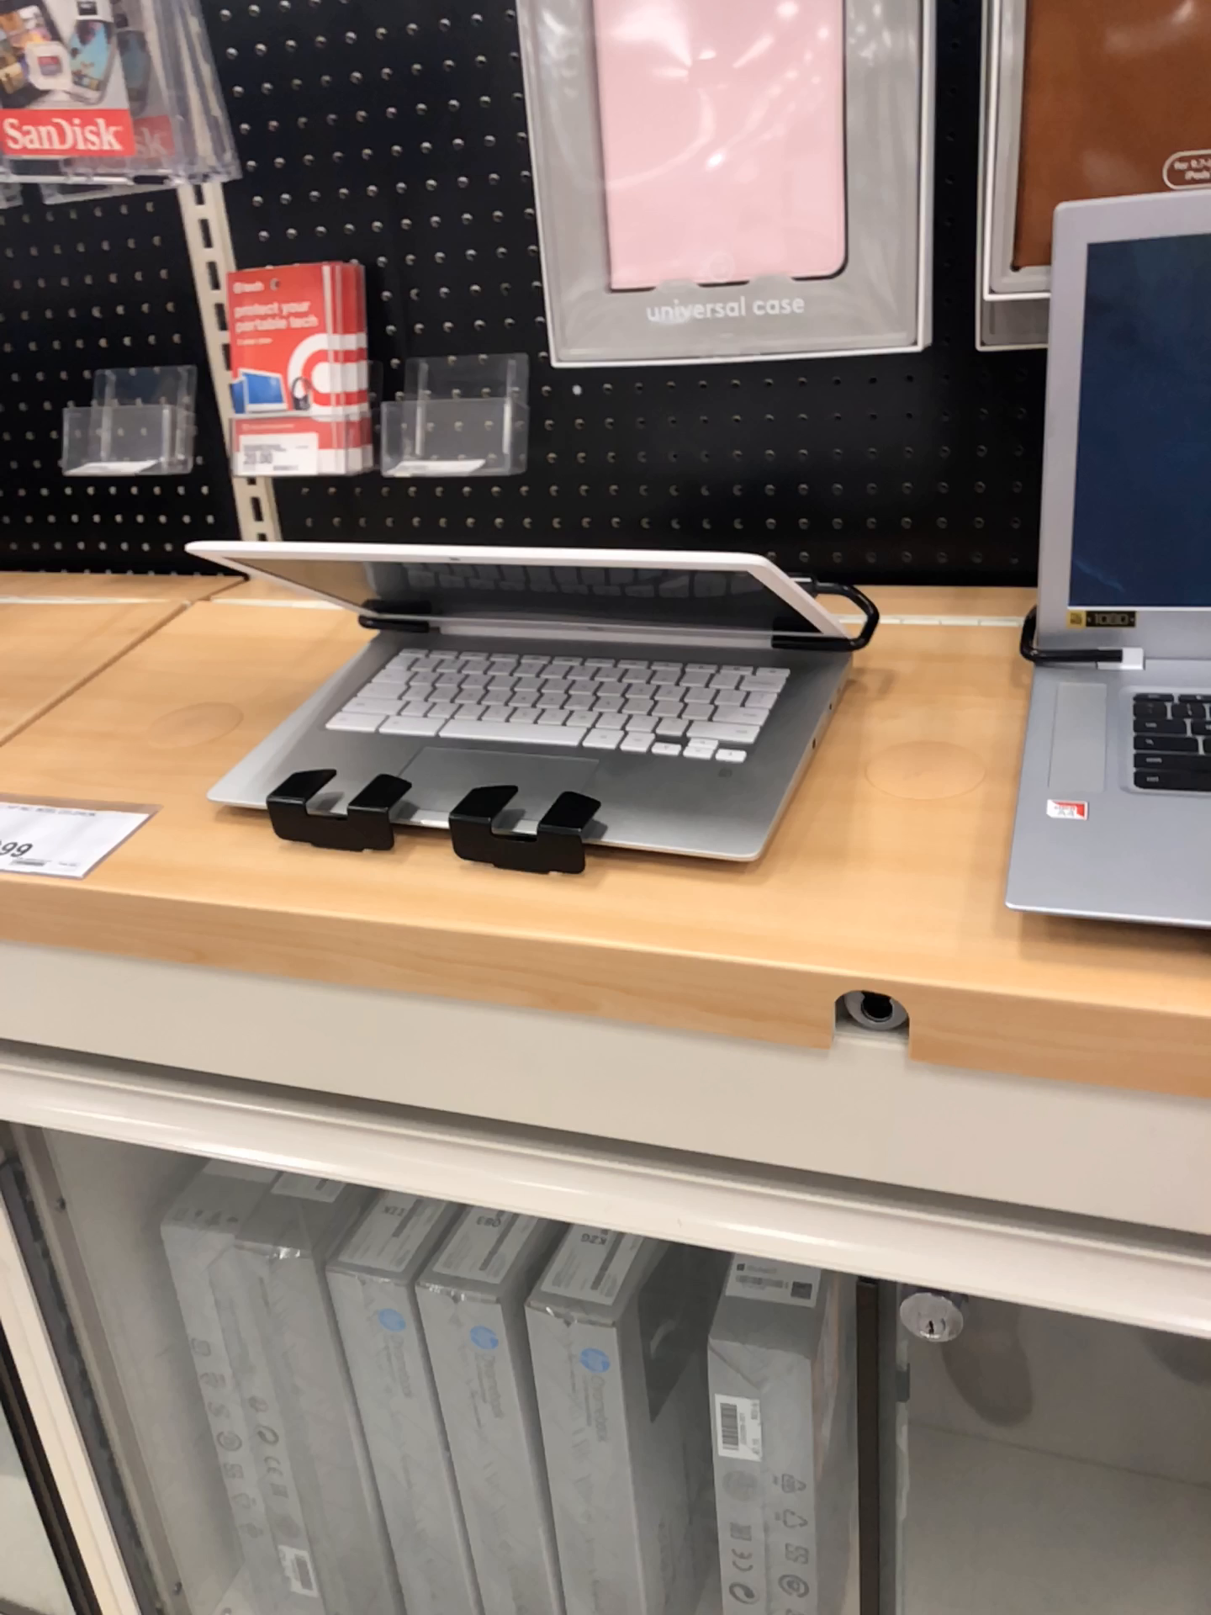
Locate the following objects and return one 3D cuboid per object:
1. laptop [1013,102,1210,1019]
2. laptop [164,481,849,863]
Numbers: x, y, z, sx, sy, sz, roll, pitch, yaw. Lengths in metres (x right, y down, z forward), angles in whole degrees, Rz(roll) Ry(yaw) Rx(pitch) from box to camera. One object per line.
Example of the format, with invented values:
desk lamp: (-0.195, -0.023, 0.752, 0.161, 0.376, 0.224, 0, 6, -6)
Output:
laptop: (0.385, -0.127, 0.565, 0.388, 0.244, 0.274, 3, 29, 19)
laptop: (-0.047, -0.096, 0.766, 0.330, 0.100, 0.216, 6, 35, 22)
